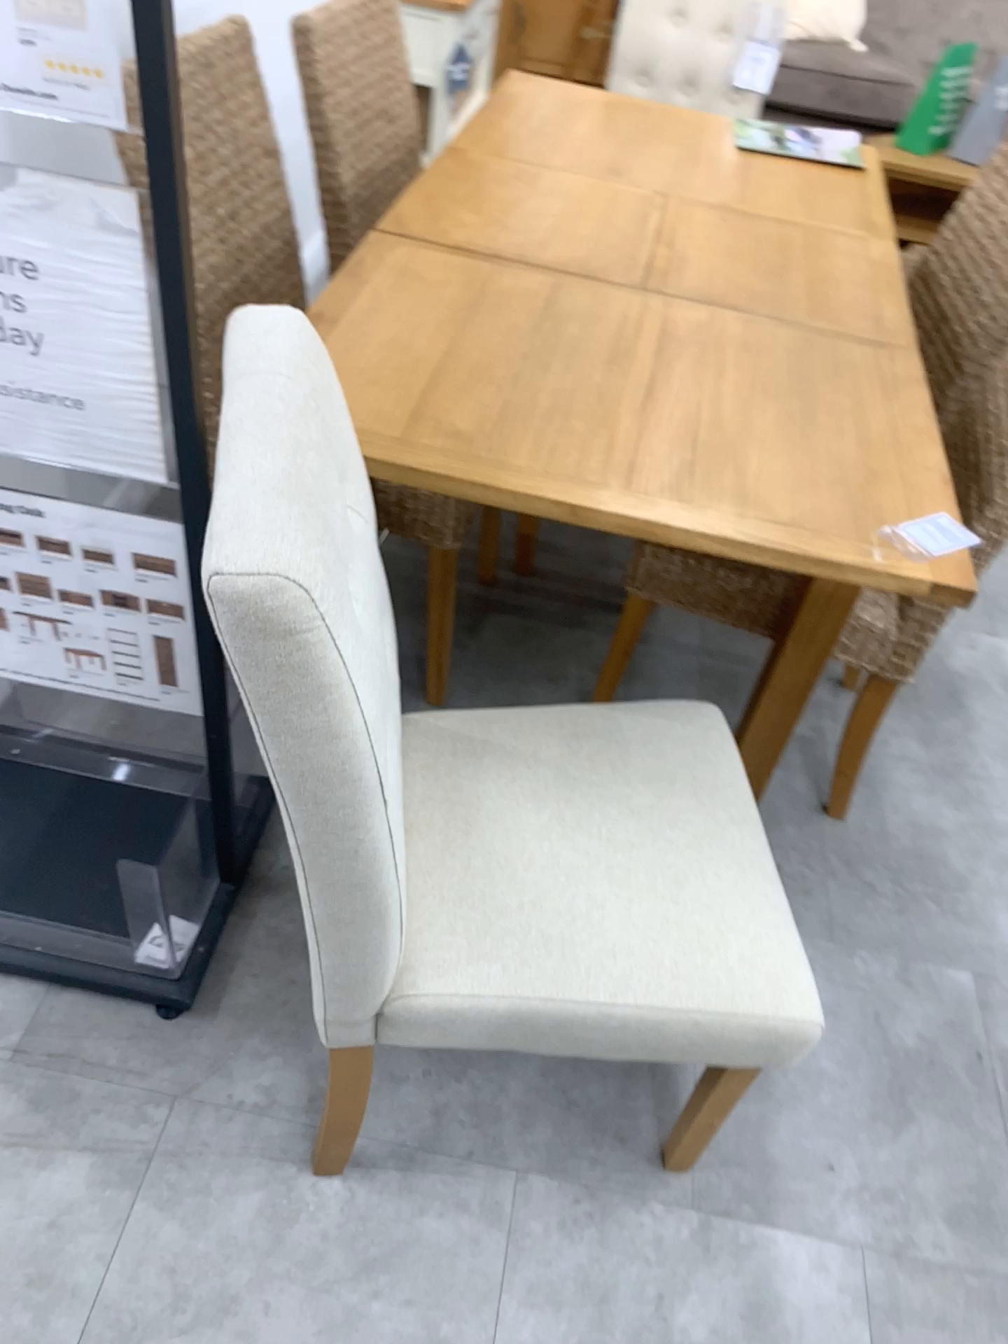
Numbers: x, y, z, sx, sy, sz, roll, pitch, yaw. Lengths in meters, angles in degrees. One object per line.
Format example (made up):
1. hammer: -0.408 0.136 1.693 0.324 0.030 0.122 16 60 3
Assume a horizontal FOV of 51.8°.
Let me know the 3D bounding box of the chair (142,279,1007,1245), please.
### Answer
1. chair: 0.033 0.149 1.023 0.610 0.871 0.424 0 44 -11
